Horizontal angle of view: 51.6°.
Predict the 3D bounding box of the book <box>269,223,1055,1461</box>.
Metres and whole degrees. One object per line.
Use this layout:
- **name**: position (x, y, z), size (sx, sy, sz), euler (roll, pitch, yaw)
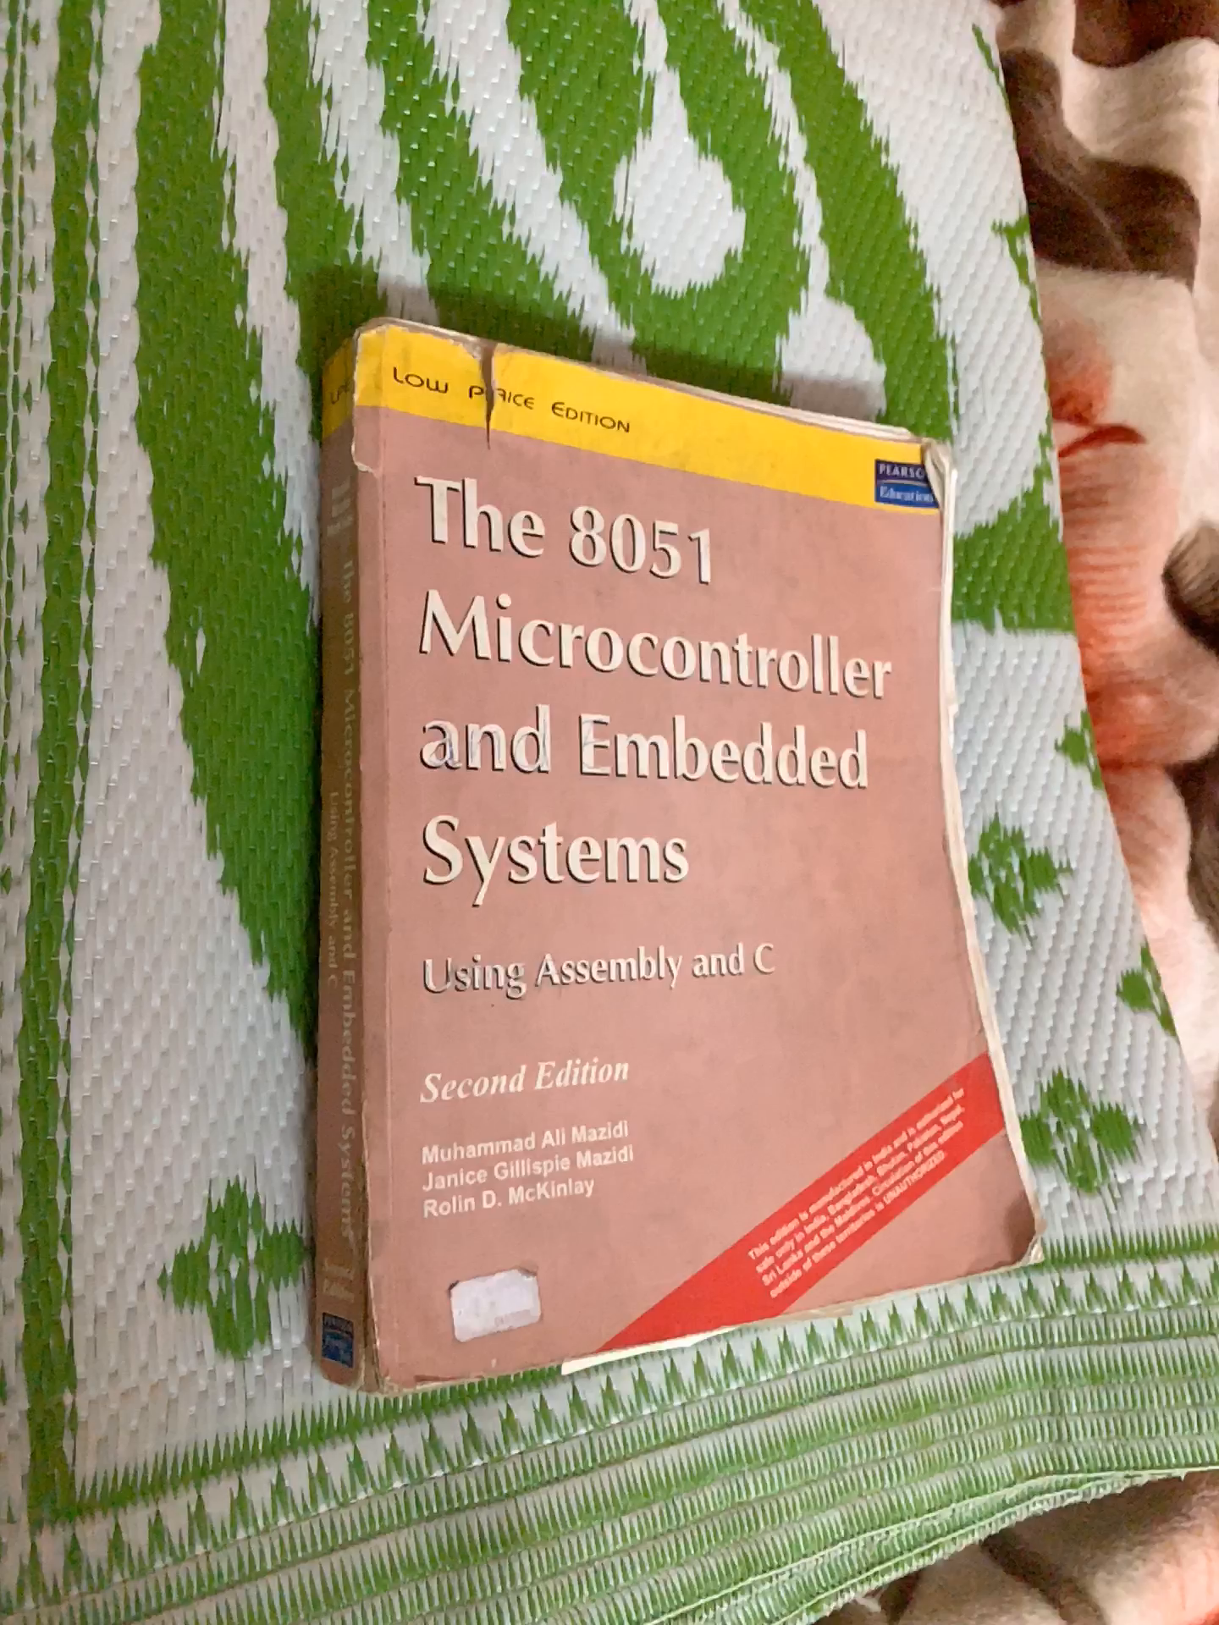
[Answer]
- **book**: position (0.021, 0.004, 0.379), size (0.231, 0.050, 0.300), euler (1, 84, -26)
